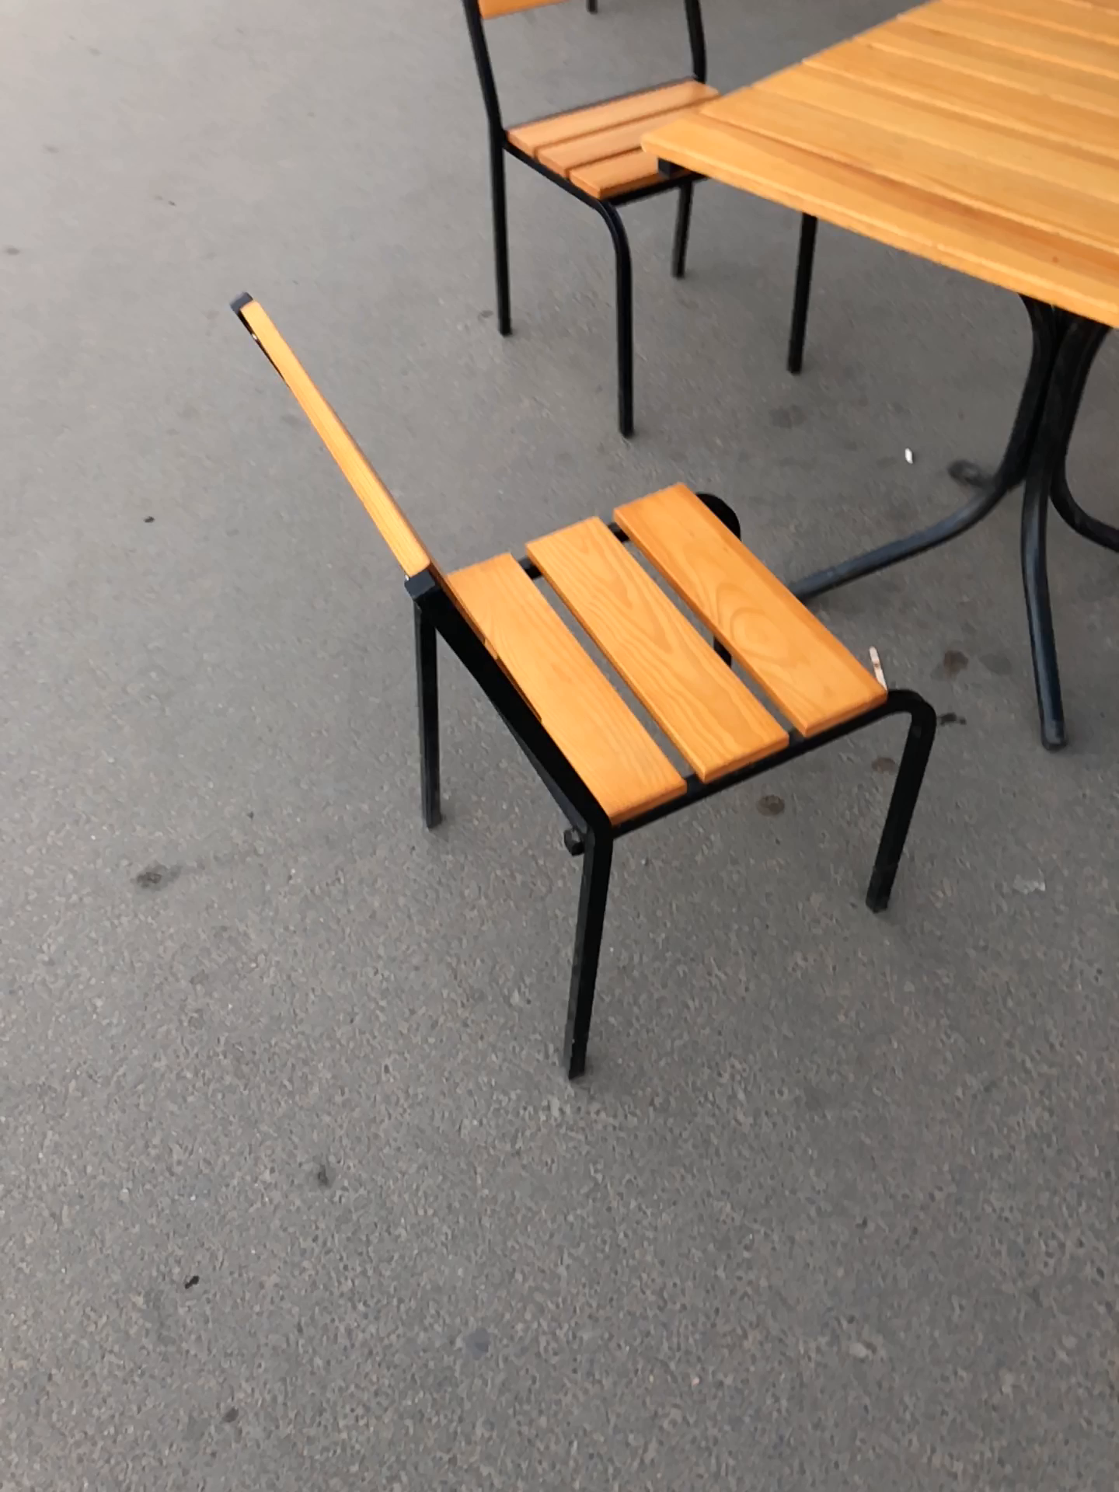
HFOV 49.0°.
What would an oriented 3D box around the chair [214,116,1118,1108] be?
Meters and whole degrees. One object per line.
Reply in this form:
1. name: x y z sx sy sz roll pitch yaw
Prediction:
1. chair: 0.085 -0.123 1.169 0.550 0.638 0.491 -21 50 -15
